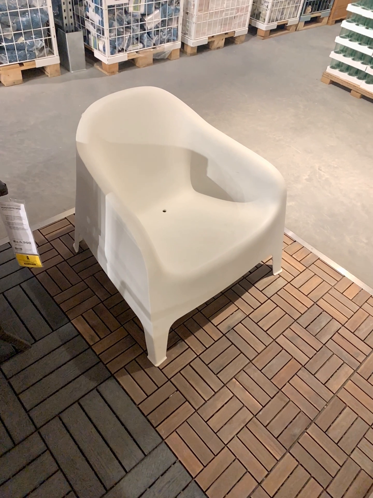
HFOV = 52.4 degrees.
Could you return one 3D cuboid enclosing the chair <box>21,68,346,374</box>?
[{"bbox_3d":[-0.032,-0.169,1.482,0.771,0.638,0.761,-30,57,-31],"label":"chair"}]
